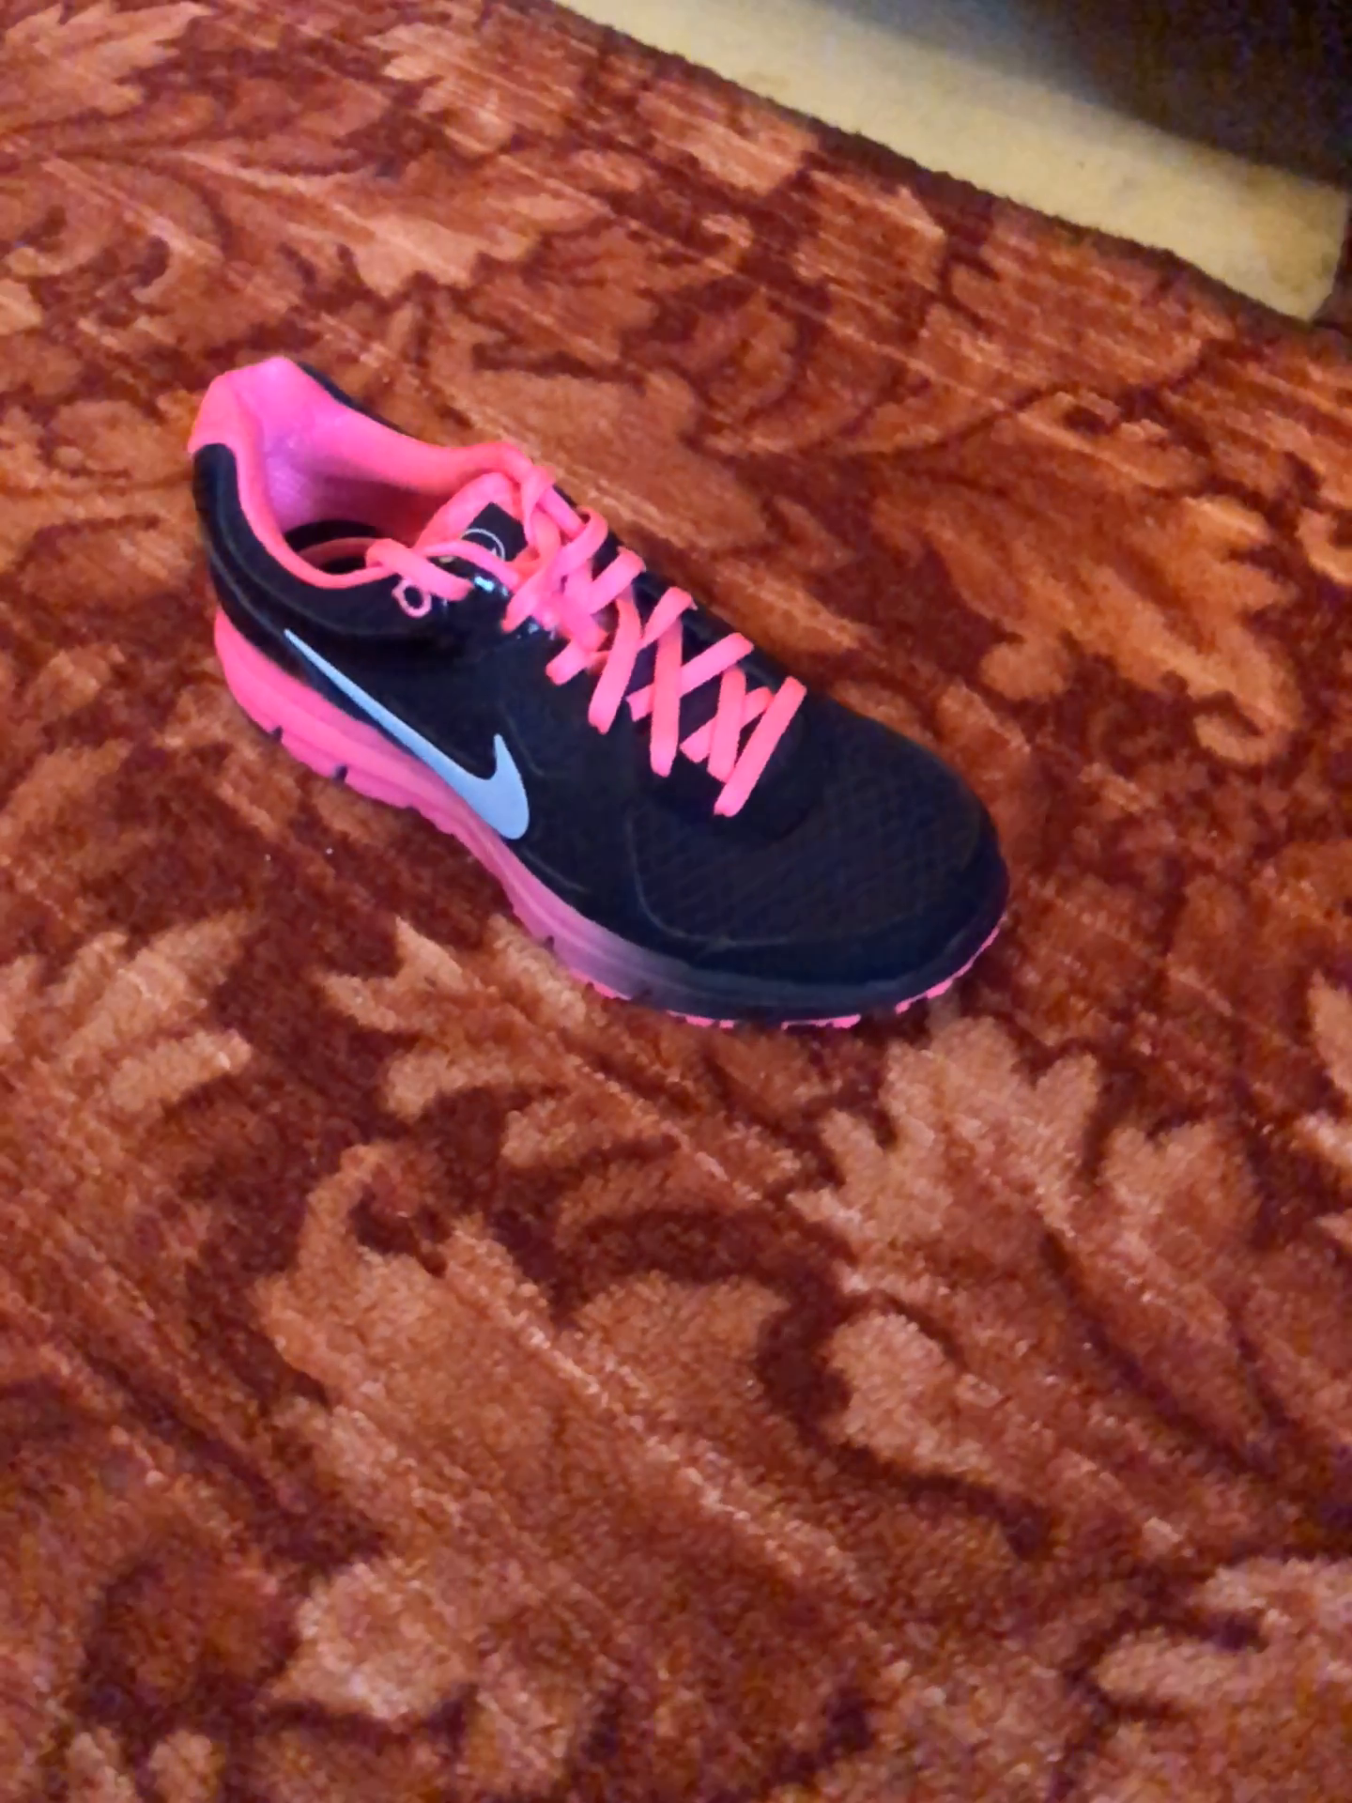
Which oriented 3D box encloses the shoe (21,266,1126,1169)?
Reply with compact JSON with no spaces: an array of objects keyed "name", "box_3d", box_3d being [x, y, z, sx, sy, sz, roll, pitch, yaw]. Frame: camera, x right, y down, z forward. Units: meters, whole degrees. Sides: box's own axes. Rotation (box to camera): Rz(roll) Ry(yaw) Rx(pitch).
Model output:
[{"name":"shoe","box_3d":[-0.030,-0.057,0.401,0.250,0.100,0.110,30,60,19]}]
